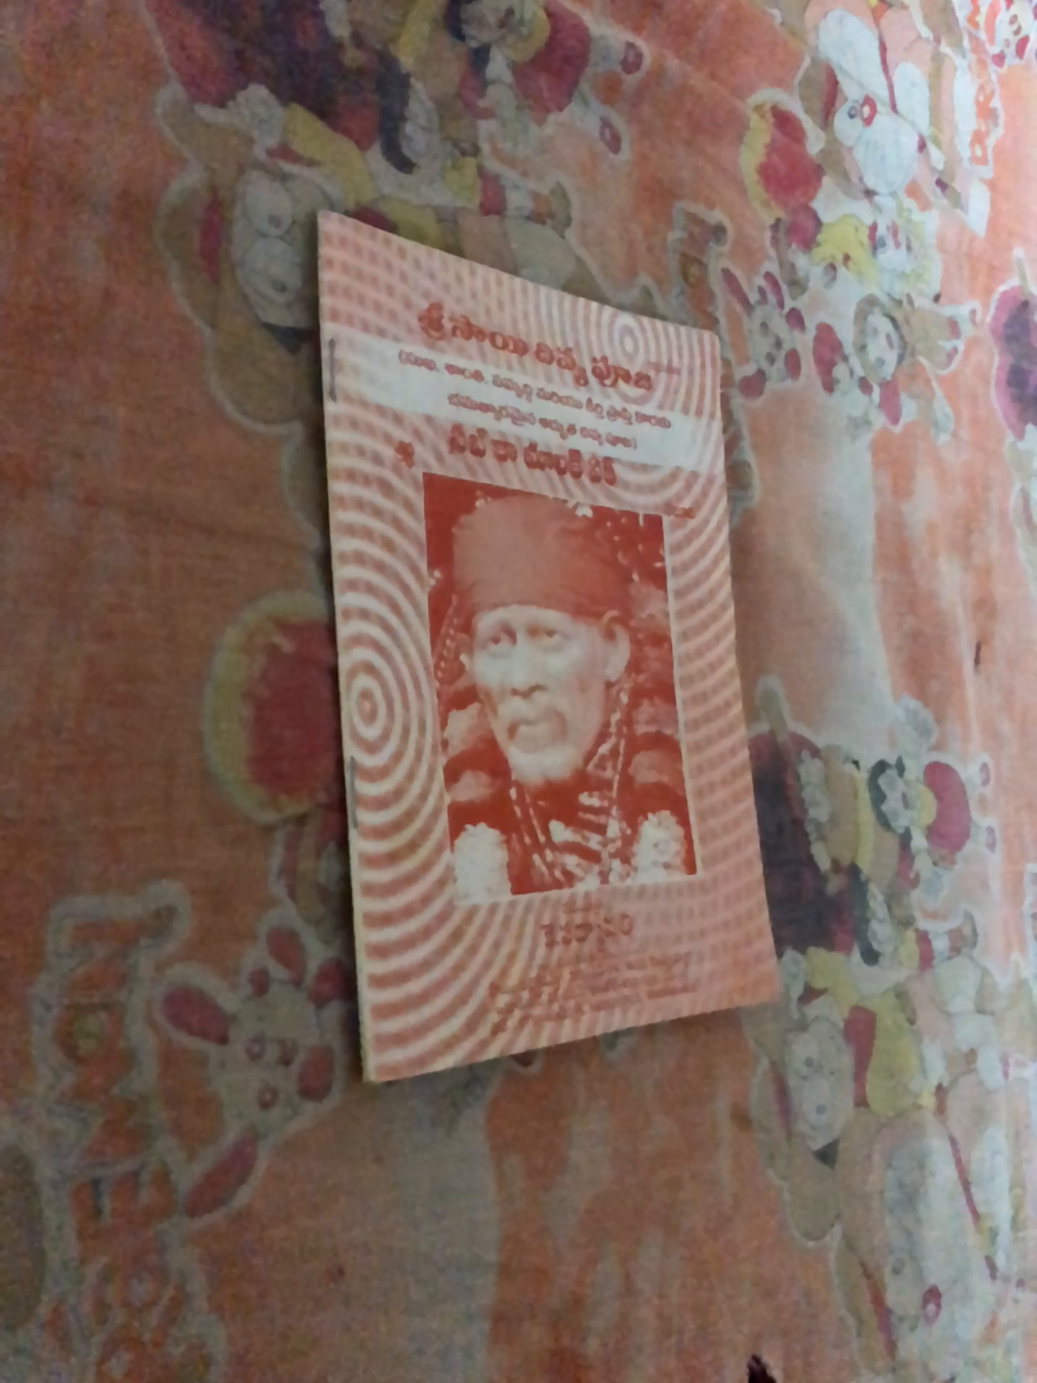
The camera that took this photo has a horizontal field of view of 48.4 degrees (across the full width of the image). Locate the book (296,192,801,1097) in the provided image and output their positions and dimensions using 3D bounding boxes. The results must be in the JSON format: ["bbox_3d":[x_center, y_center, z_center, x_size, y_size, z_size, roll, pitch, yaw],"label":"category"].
[{"bbox_3d":[0.011,-0.011,0.257,0.121,0.010,0.173,3,78,-39],"label":"book"}]
